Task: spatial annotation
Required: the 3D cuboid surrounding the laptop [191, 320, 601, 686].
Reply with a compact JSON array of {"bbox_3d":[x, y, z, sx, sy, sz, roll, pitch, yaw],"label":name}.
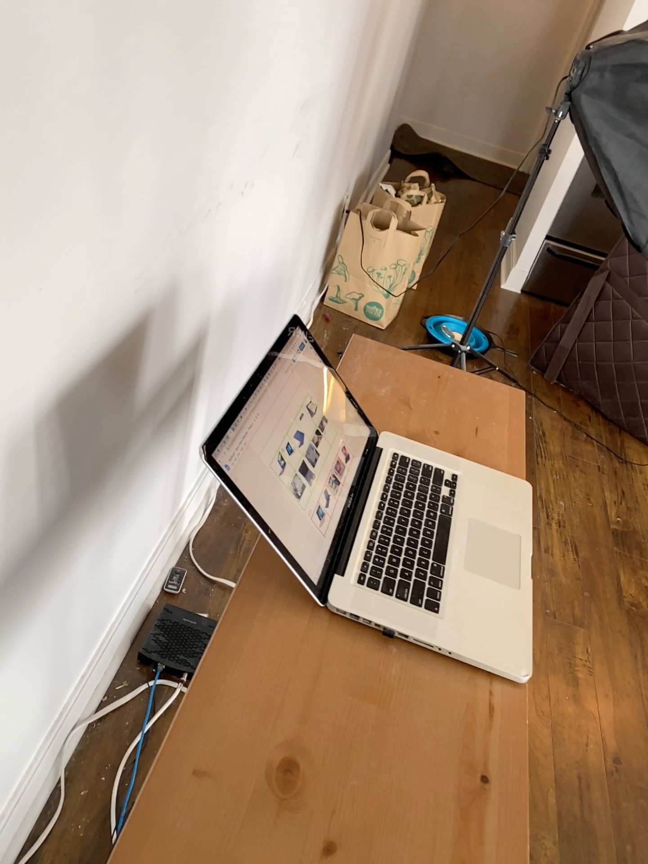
[{"bbox_3d":[0.106,0.063,0.878,0.435,0.155,0.361,19,37,4],"label":"laptop"}]
